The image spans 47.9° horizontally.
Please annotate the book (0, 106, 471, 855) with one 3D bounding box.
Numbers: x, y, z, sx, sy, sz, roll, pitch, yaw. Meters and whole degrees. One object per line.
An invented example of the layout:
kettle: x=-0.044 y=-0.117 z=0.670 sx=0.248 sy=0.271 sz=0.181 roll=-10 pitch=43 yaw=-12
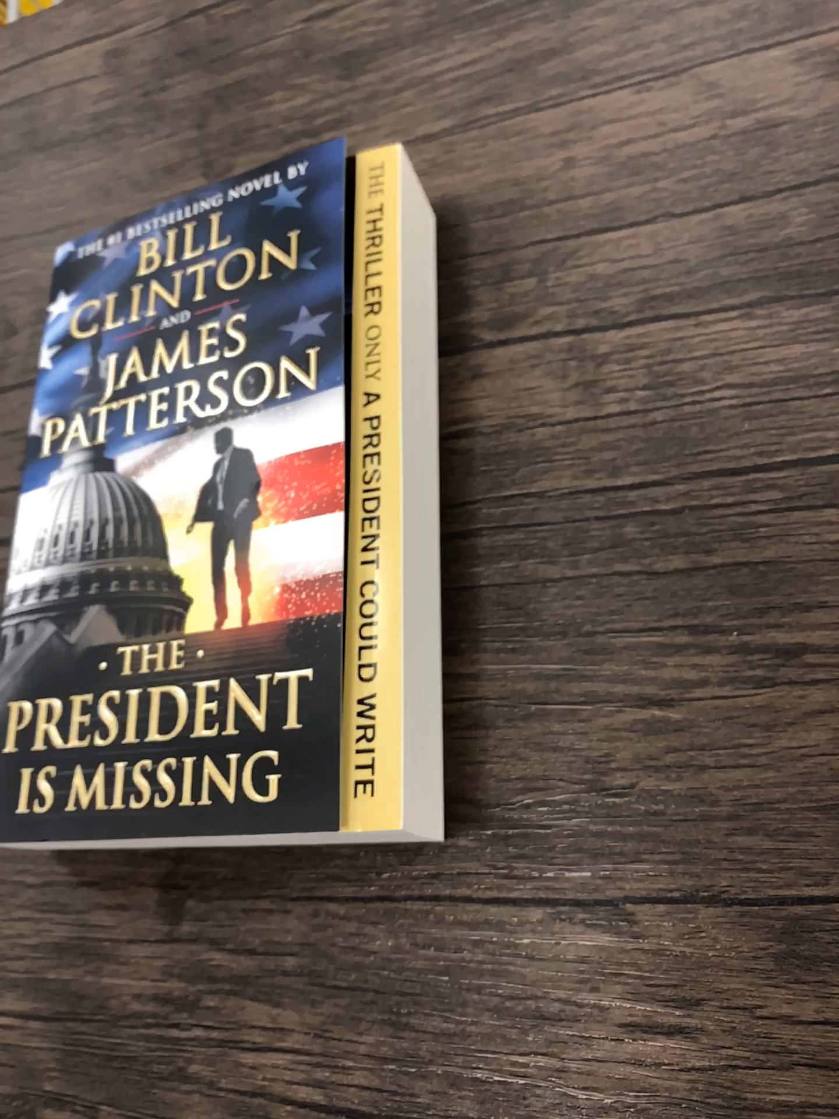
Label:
book: x=-0.062 y=-0.021 z=0.303 sx=0.140 sy=0.054 sz=0.216 roll=-8 pitch=69 yaw=19
